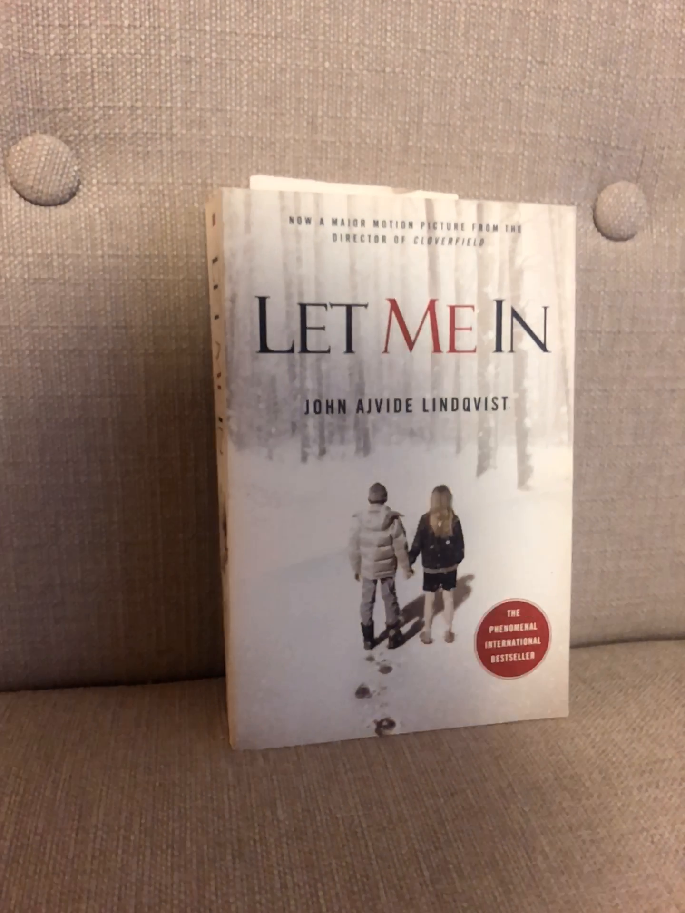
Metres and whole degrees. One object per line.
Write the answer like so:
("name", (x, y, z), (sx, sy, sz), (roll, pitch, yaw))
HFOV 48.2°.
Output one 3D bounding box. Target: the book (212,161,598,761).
("book", (0.023, 0.002, 0.312), (0.147, 0.216, 0.043), (-1, 4, -12))
